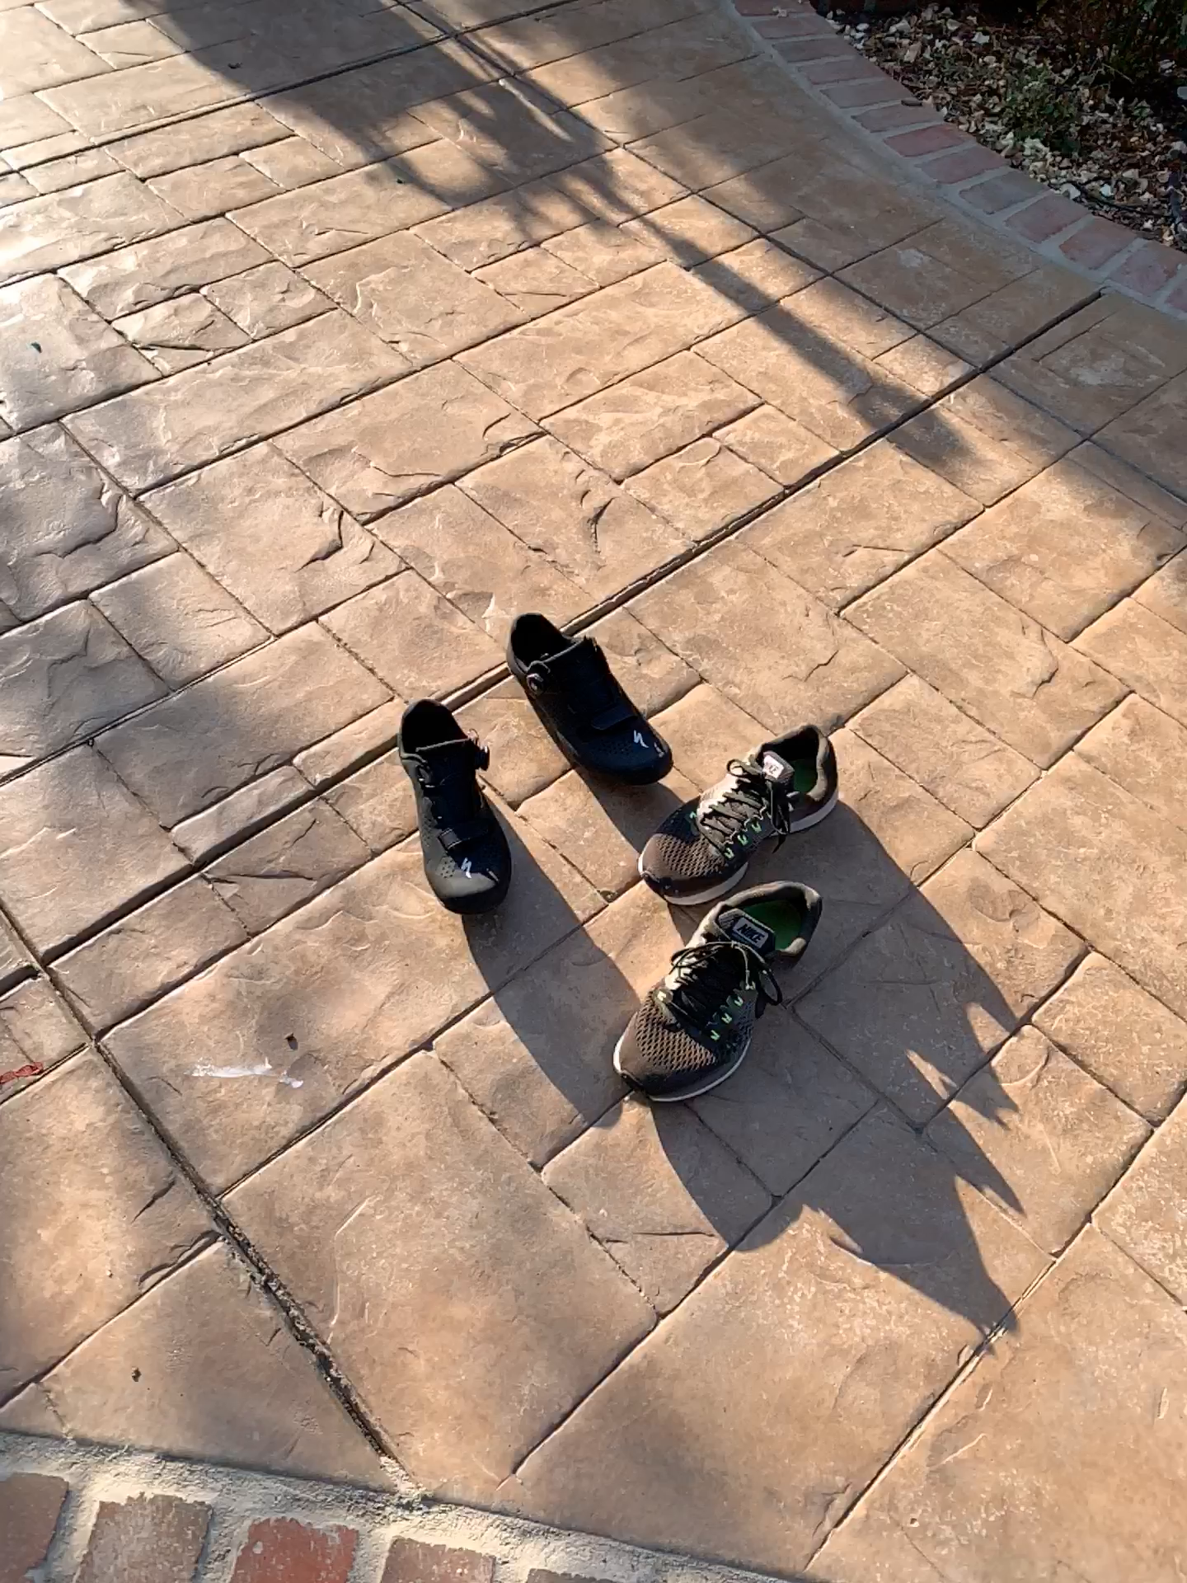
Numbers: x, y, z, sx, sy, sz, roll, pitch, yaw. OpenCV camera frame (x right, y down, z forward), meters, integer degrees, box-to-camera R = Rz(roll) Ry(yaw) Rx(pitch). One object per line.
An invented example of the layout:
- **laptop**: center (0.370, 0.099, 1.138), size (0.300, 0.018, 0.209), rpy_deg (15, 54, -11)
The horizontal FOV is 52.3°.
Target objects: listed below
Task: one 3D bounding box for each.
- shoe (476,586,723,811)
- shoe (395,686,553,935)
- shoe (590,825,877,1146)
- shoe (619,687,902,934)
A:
- **shoe**: center (0.002, -0.114, 1.400), size (0.130, 0.050, 0.281), rpy_deg (-32, 62, -27)
- **shoe**: center (-0.134, 0.013, 1.304), size (0.110, 0.050, 0.281), rpy_deg (-9, 54, -14)
- **shoe**: center (0.143, 0.188, 1.218), size (0.130, 0.110, 0.291), rpy_deg (35, 56, 19)
- **shoe**: center (0.185, 0.015, 1.341), size (0.290, 0.090, 0.130), rpy_deg (-31, 62, -27)
